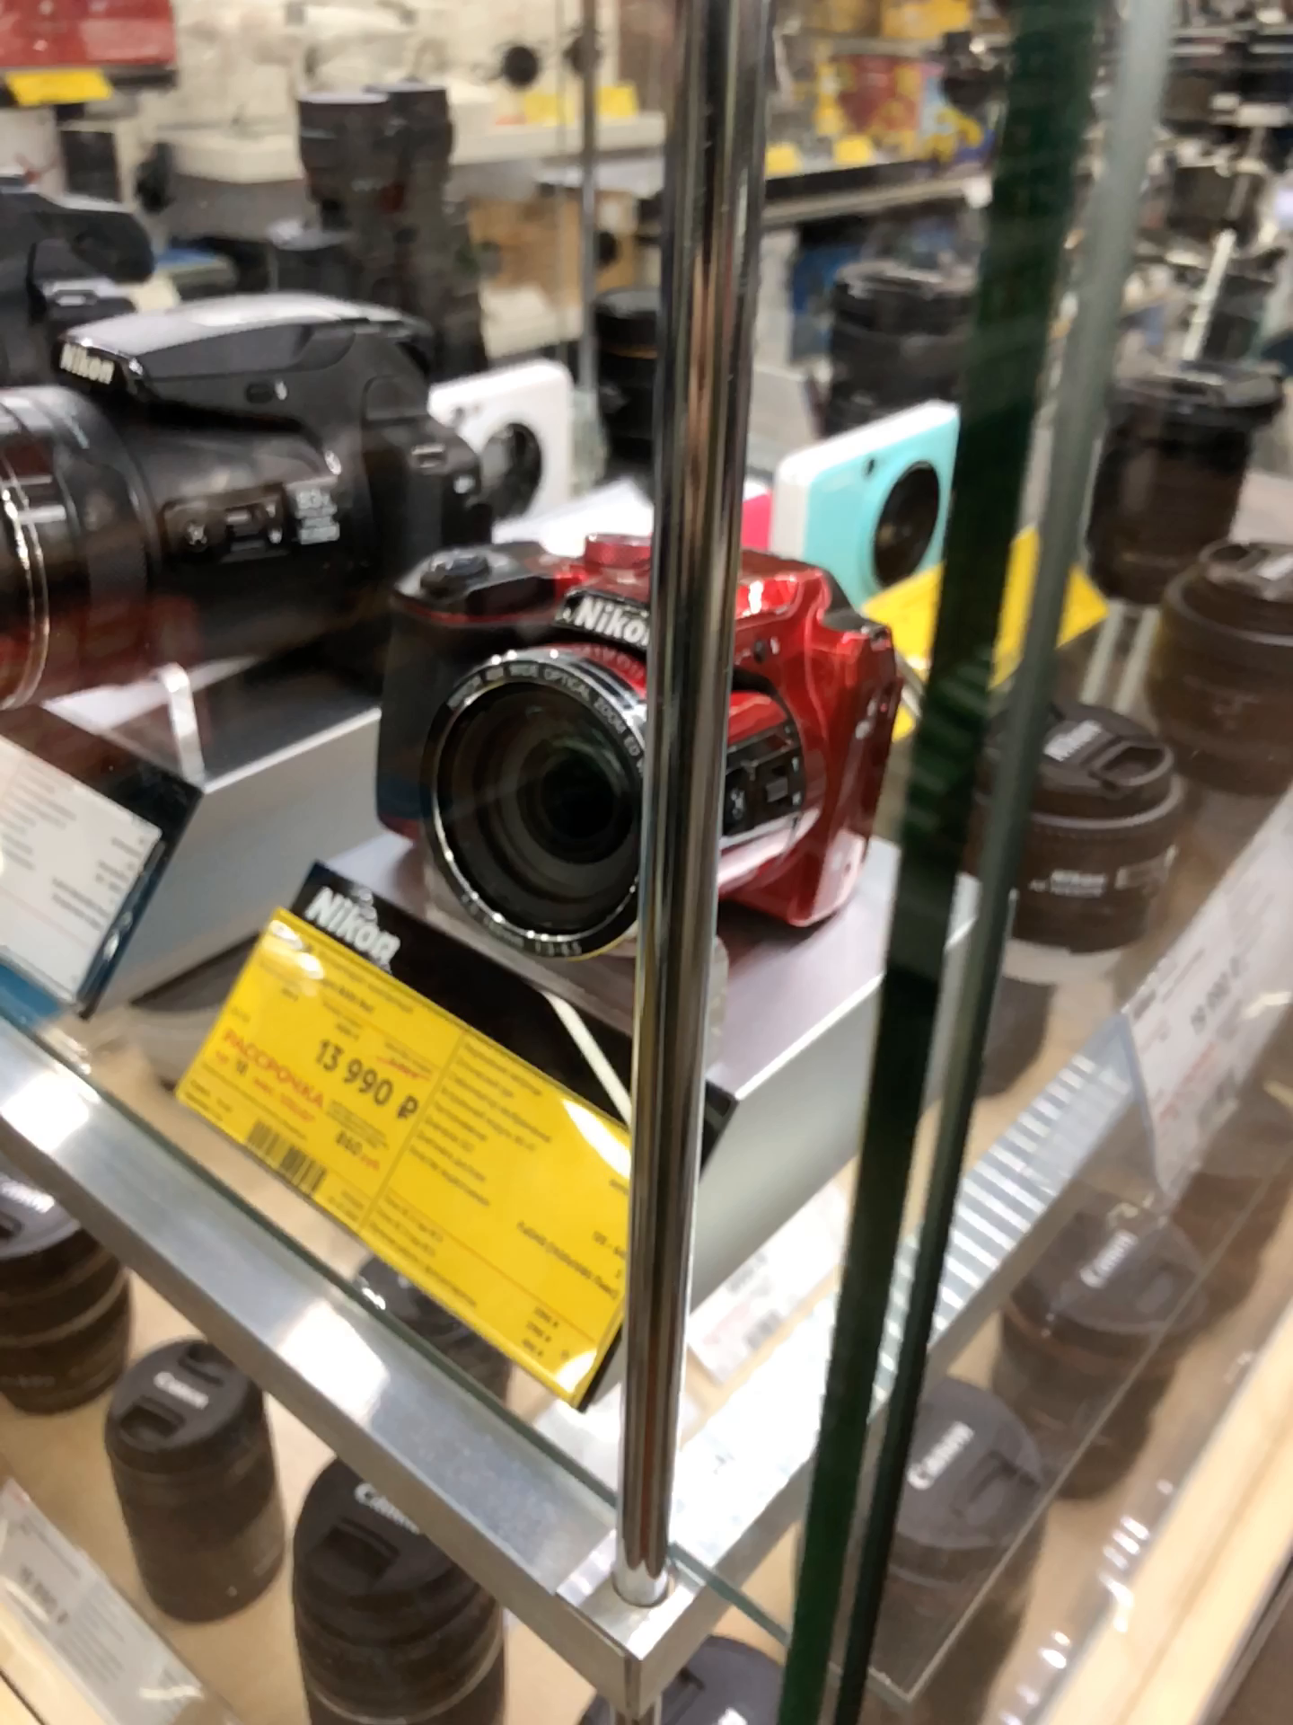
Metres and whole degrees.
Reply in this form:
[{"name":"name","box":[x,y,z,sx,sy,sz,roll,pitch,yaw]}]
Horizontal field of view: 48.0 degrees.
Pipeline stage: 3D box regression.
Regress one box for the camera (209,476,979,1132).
[{"name":"camera","box":[-0.011,-0.024,0.327,0.120,0.076,0.110,26,39,33]}]
